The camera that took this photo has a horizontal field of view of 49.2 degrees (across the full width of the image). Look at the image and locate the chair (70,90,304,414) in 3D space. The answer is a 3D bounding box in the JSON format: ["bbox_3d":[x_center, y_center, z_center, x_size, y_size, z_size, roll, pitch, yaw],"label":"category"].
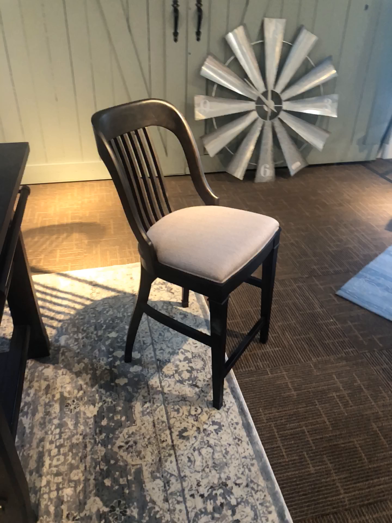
[{"bbox_3d":[-0.020,-0.049,1.609,0.570,0.985,0.482,18,36,24],"label":"chair"}]
